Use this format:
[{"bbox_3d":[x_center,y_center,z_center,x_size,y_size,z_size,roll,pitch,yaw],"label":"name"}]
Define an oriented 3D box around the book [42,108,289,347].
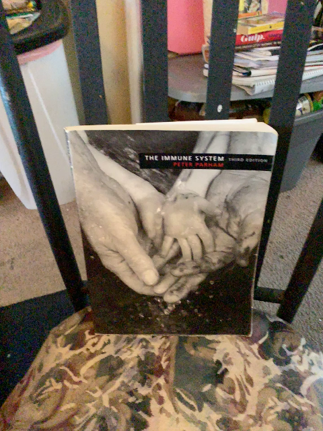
[{"bbox_3d":[0.008,0.028,0.369,0.220,0.269,0.040,0,25,6],"label":"book"}]
